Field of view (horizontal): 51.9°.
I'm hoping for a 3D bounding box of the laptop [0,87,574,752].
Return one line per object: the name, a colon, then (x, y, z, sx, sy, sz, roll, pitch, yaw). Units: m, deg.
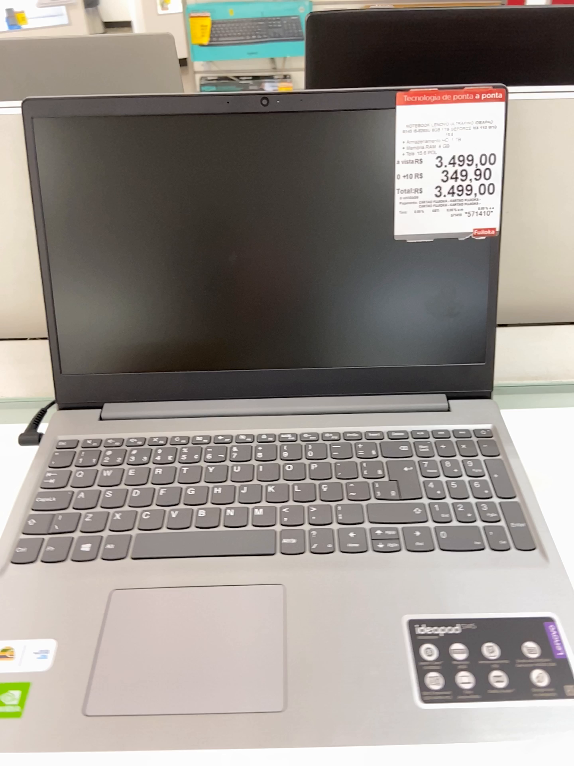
laptop: (-0.013, -0.017, 0.366, 0.359, 0.201, 0.368, -1, 42, 0)
